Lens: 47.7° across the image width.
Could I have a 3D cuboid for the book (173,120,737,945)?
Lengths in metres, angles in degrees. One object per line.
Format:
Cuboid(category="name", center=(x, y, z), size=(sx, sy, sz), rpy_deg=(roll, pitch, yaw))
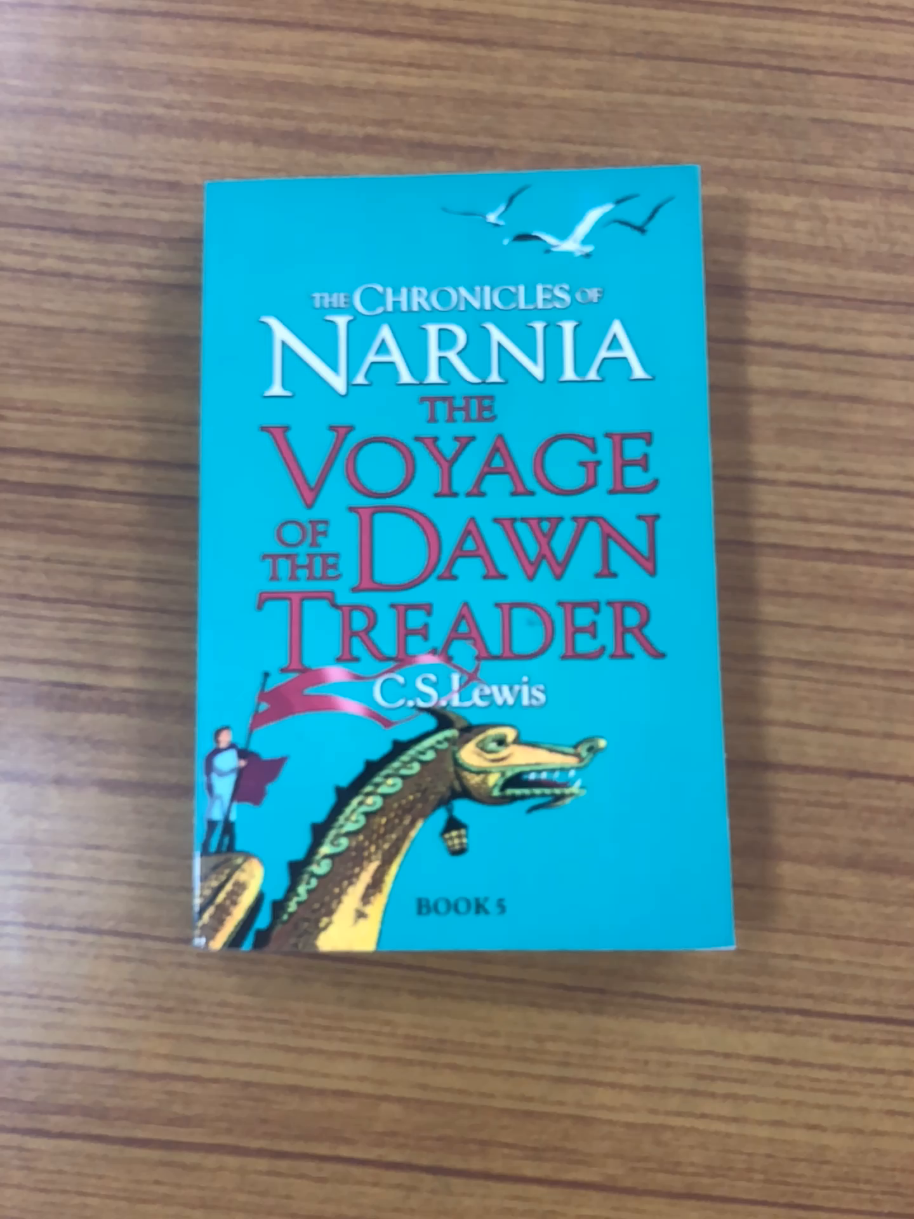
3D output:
Cuboid(category="book", center=(-0.001, -0.021, 0.264), size=(0.130, 0.030, 0.200), rpy_deg=(-1, 84, 1))
